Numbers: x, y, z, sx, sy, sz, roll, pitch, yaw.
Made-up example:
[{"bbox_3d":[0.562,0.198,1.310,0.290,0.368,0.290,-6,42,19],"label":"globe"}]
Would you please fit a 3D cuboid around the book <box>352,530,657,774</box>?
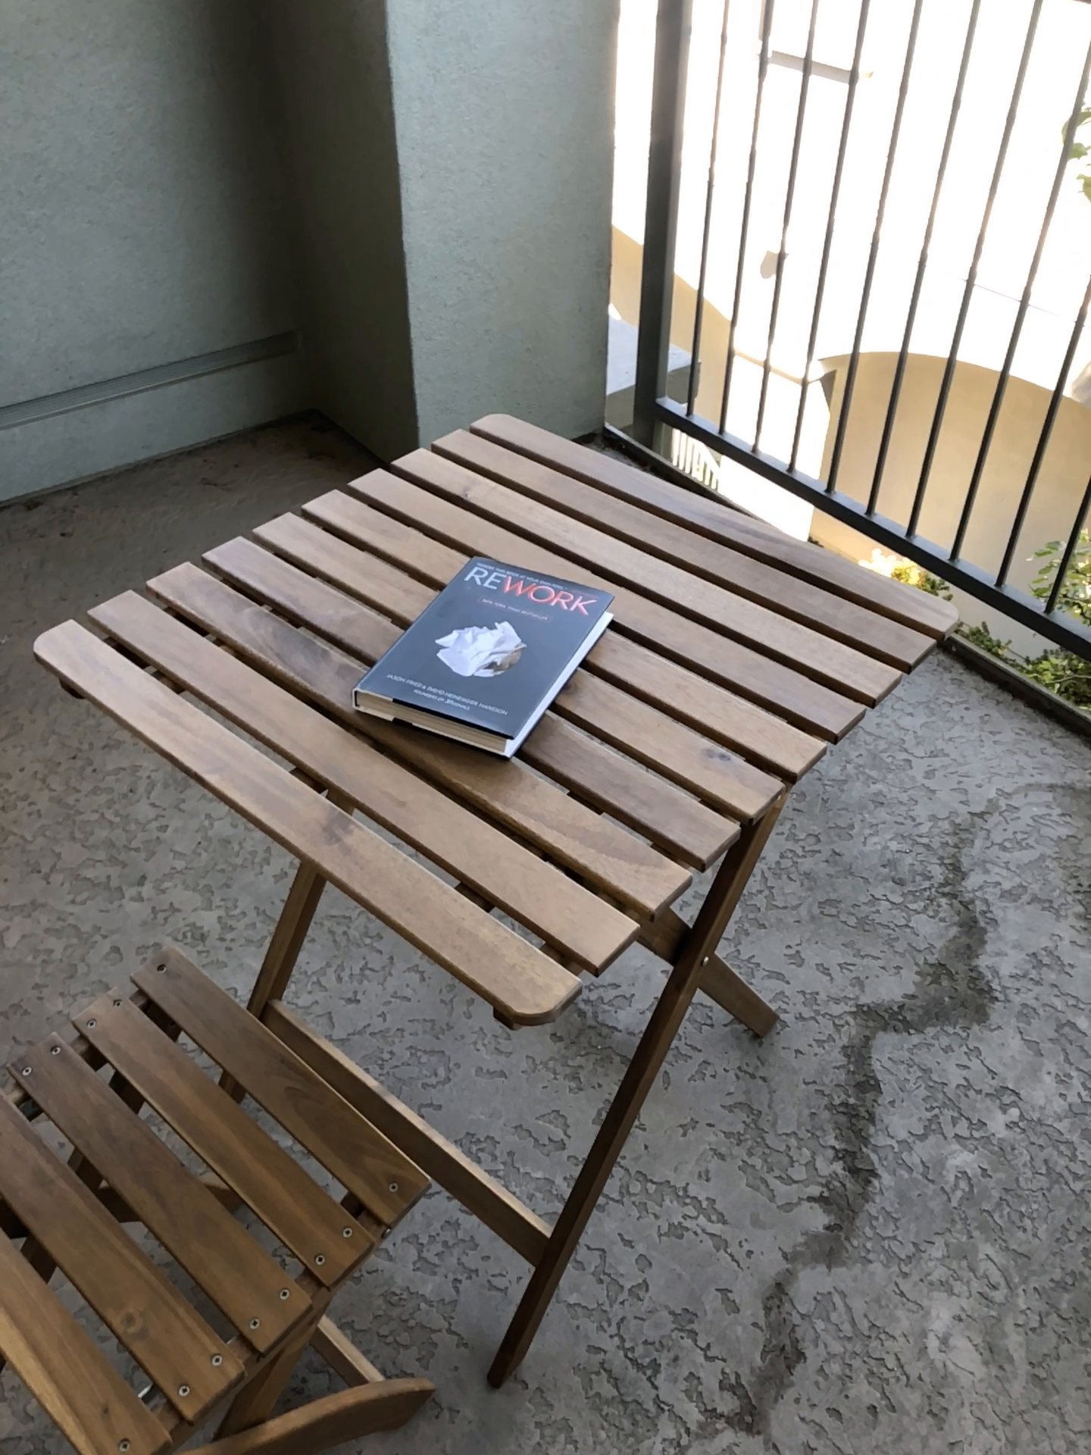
[{"bbox_3d":[-0.028,-0.074,1.038,0.170,0.040,0.241,17,44,18],"label":"book"}]
